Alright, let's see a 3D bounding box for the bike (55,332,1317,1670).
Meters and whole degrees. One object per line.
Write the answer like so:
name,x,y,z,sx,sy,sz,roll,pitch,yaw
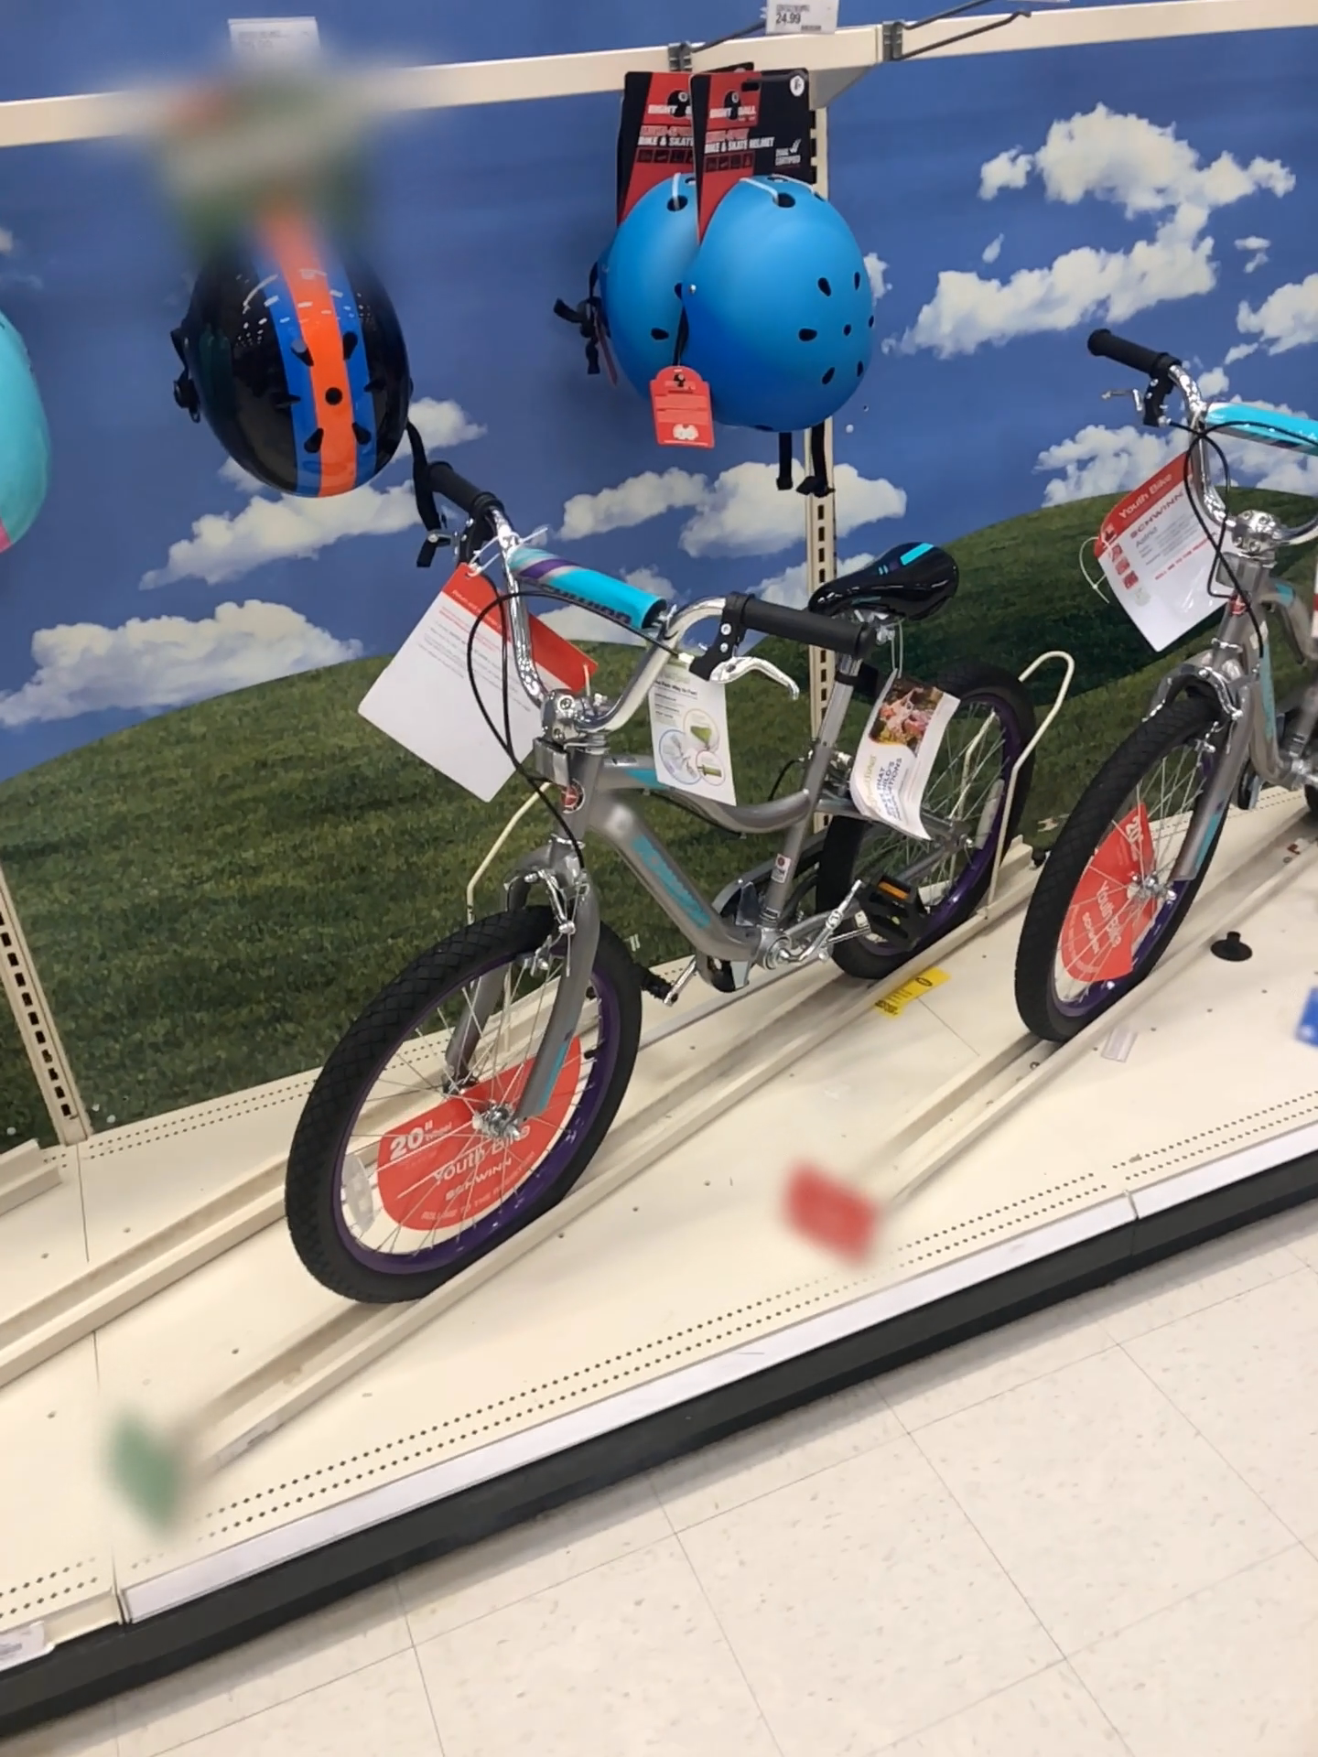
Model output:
bike,0.136,-0.017,1.761,1.323,0.878,0.651,-32,39,-34
